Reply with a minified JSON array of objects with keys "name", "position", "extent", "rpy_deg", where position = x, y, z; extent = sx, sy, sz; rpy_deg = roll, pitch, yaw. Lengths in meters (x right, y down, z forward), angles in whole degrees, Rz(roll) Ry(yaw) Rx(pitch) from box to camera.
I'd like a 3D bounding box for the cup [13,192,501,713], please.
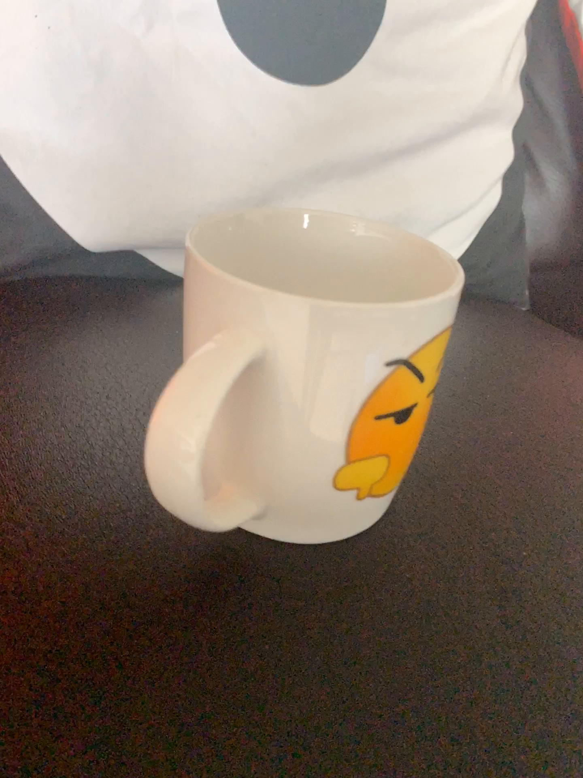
[{"name":"cup","position":[-0.005,0.004,0.194],"extent":[0.080,0.099,0.121],"rpy_deg":[25,33,26]}]
